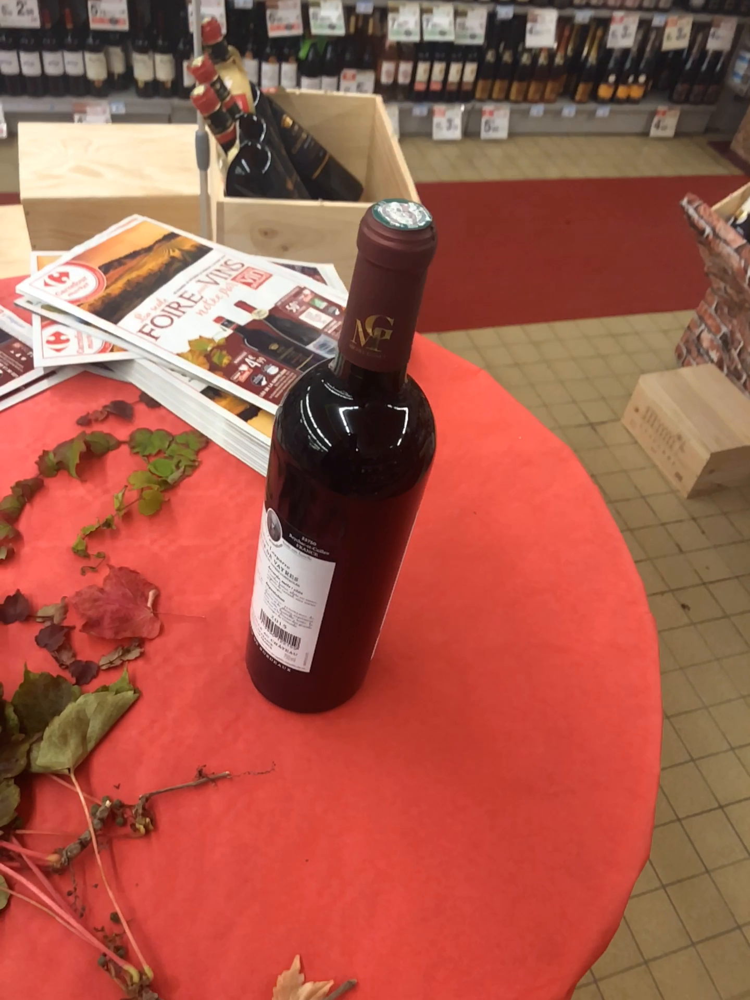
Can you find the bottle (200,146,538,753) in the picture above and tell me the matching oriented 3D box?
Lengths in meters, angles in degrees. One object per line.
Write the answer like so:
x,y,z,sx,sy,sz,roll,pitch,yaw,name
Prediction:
-0.023,-0.002,0.406,0.090,0.298,0.090,5,46,-5,bottle
